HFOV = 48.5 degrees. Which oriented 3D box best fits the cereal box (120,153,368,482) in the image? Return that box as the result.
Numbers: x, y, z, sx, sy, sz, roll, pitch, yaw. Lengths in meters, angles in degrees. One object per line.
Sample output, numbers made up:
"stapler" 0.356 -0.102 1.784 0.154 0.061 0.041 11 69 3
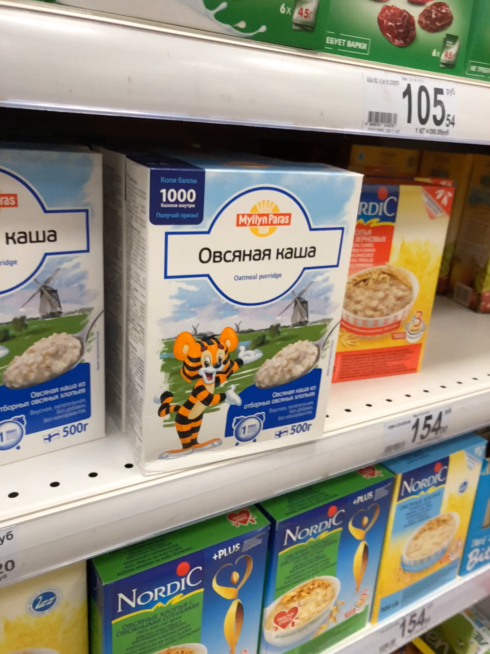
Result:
"cereal box" -0.006 -0.007 0.386 0.150 0.209 0.050 -5 23 -25
